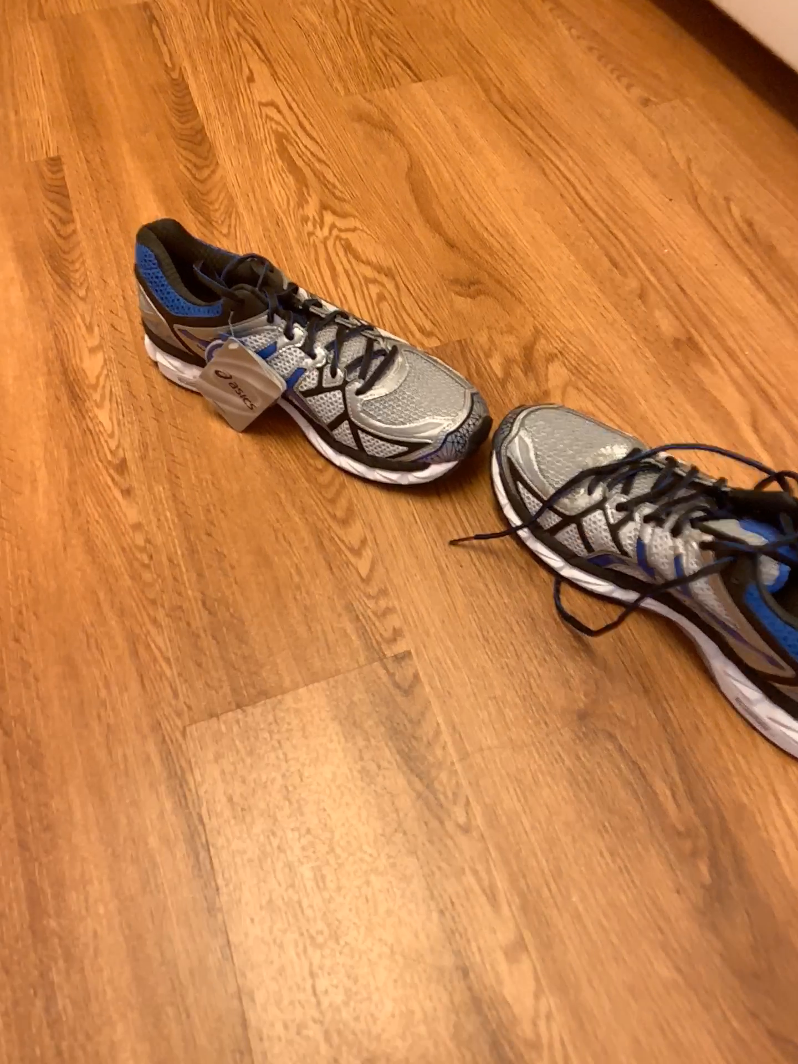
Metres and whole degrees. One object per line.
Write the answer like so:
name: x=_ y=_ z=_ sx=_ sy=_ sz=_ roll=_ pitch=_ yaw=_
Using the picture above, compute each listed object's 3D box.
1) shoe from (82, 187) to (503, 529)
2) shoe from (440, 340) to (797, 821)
shoe: x=-0.079 y=-0.134 z=0.597 sx=0.291 sy=0.100 sz=0.100 roll=30 pitch=62 yaw=19
shoe: x=0.176 y=0.018 z=0.499 sx=0.311 sy=0.100 sz=0.100 roll=37 pitch=65 yaw=23
